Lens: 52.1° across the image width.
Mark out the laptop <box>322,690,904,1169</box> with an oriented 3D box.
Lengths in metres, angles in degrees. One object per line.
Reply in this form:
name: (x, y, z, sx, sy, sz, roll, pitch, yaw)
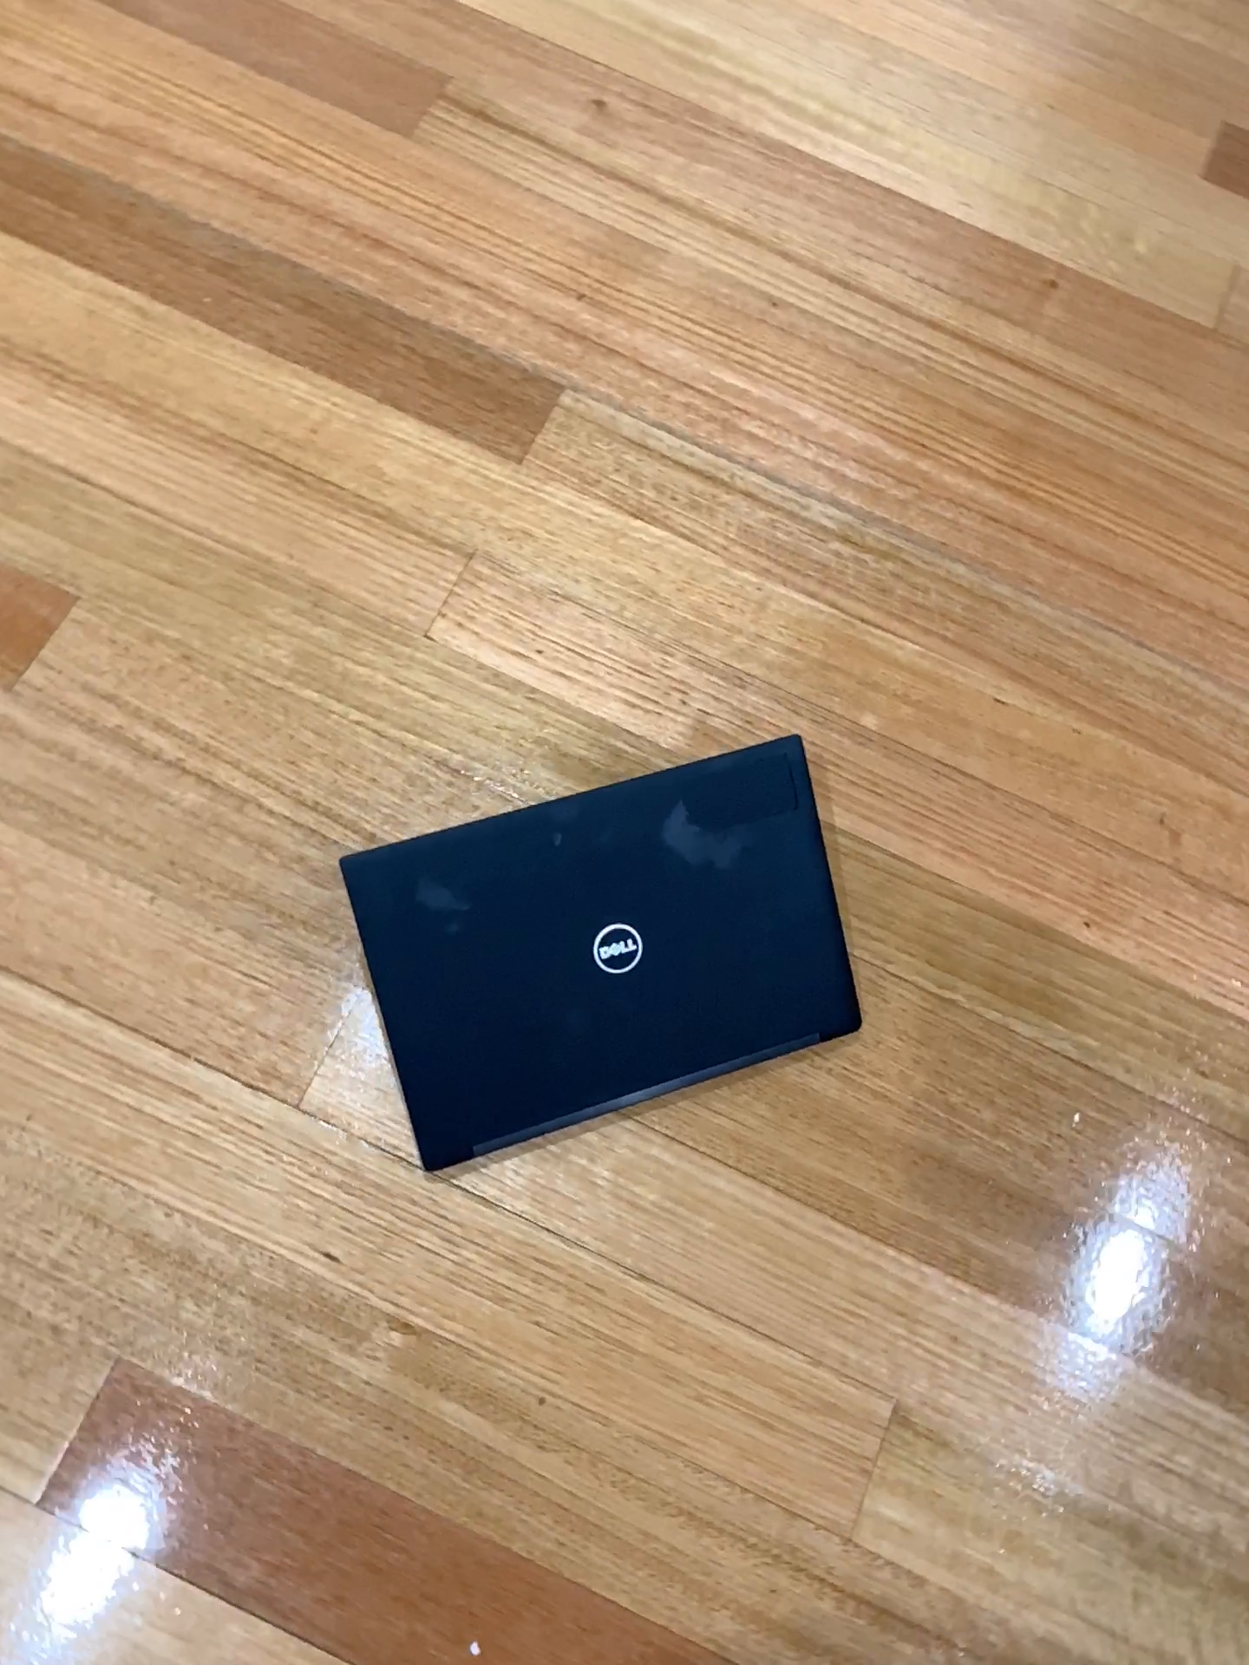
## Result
laptop: (-0.012, 0.062, 0.810, 0.296, 0.110, 0.206, -15, 75, -11)
